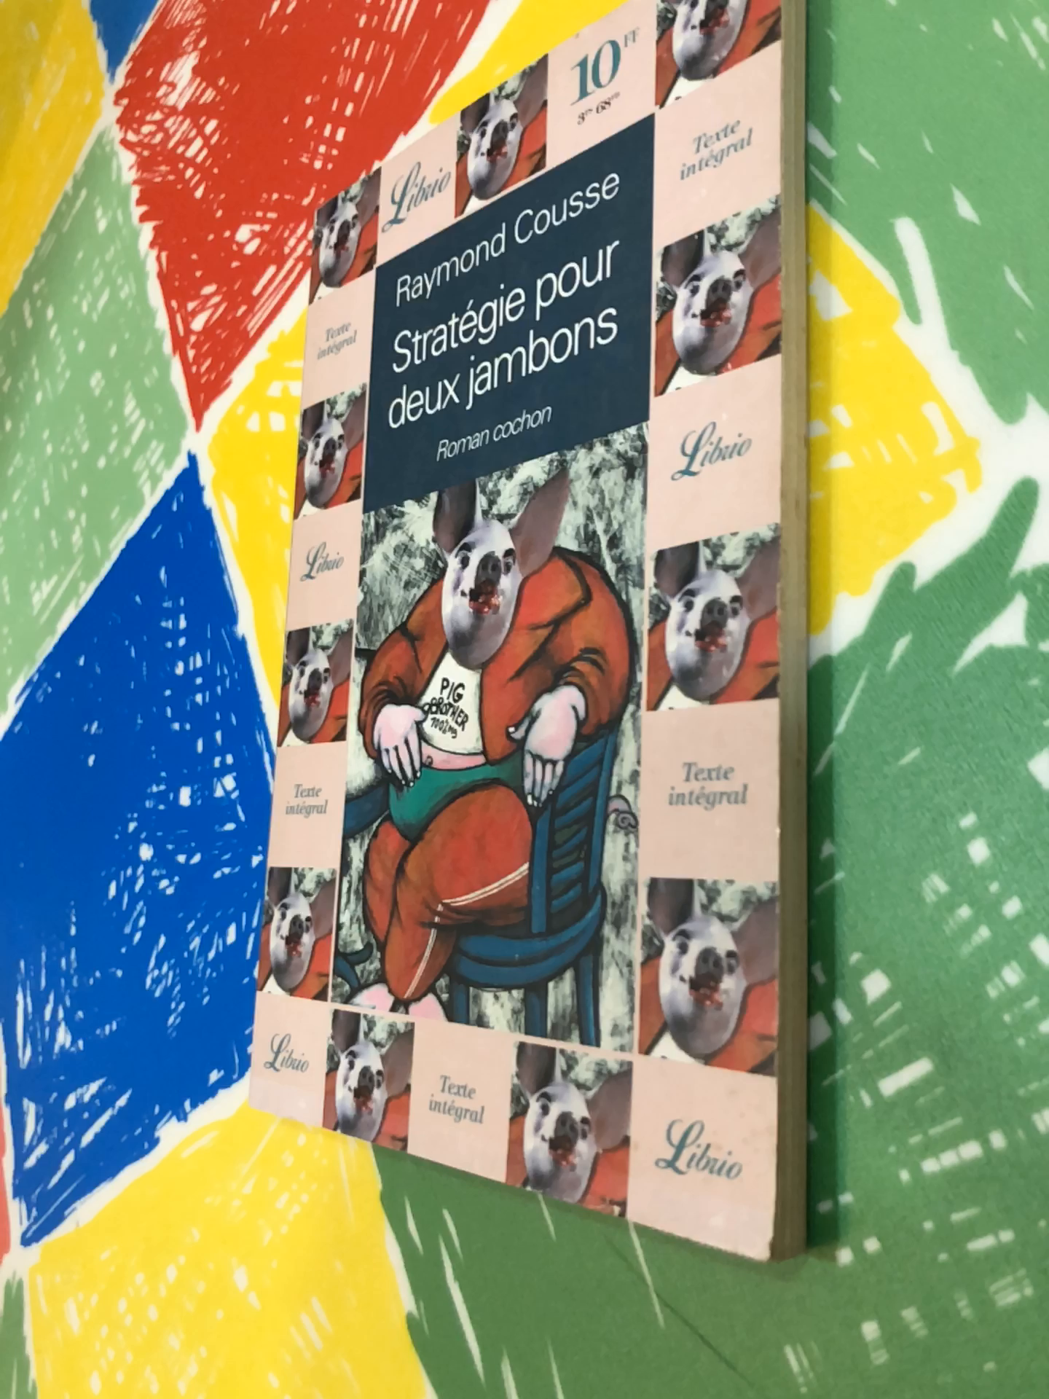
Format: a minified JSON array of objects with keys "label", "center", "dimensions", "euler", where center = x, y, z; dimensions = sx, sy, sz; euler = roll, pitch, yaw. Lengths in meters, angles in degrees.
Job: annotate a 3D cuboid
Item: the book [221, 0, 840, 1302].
[{"label":"book","center":[-0.006,-0.019,0.206],"dimensions":[0.131,0.014,0.197],"euler":[-7,77,45]}]
